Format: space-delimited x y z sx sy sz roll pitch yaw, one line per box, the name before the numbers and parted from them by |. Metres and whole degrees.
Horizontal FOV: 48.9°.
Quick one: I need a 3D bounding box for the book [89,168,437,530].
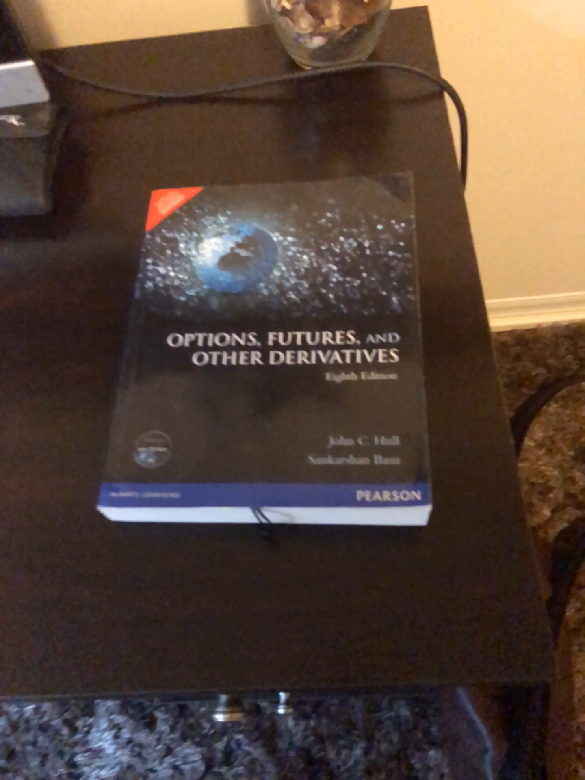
book | -0.013 -0.038 0.459 0.207 0.050 0.262 0 64 6
